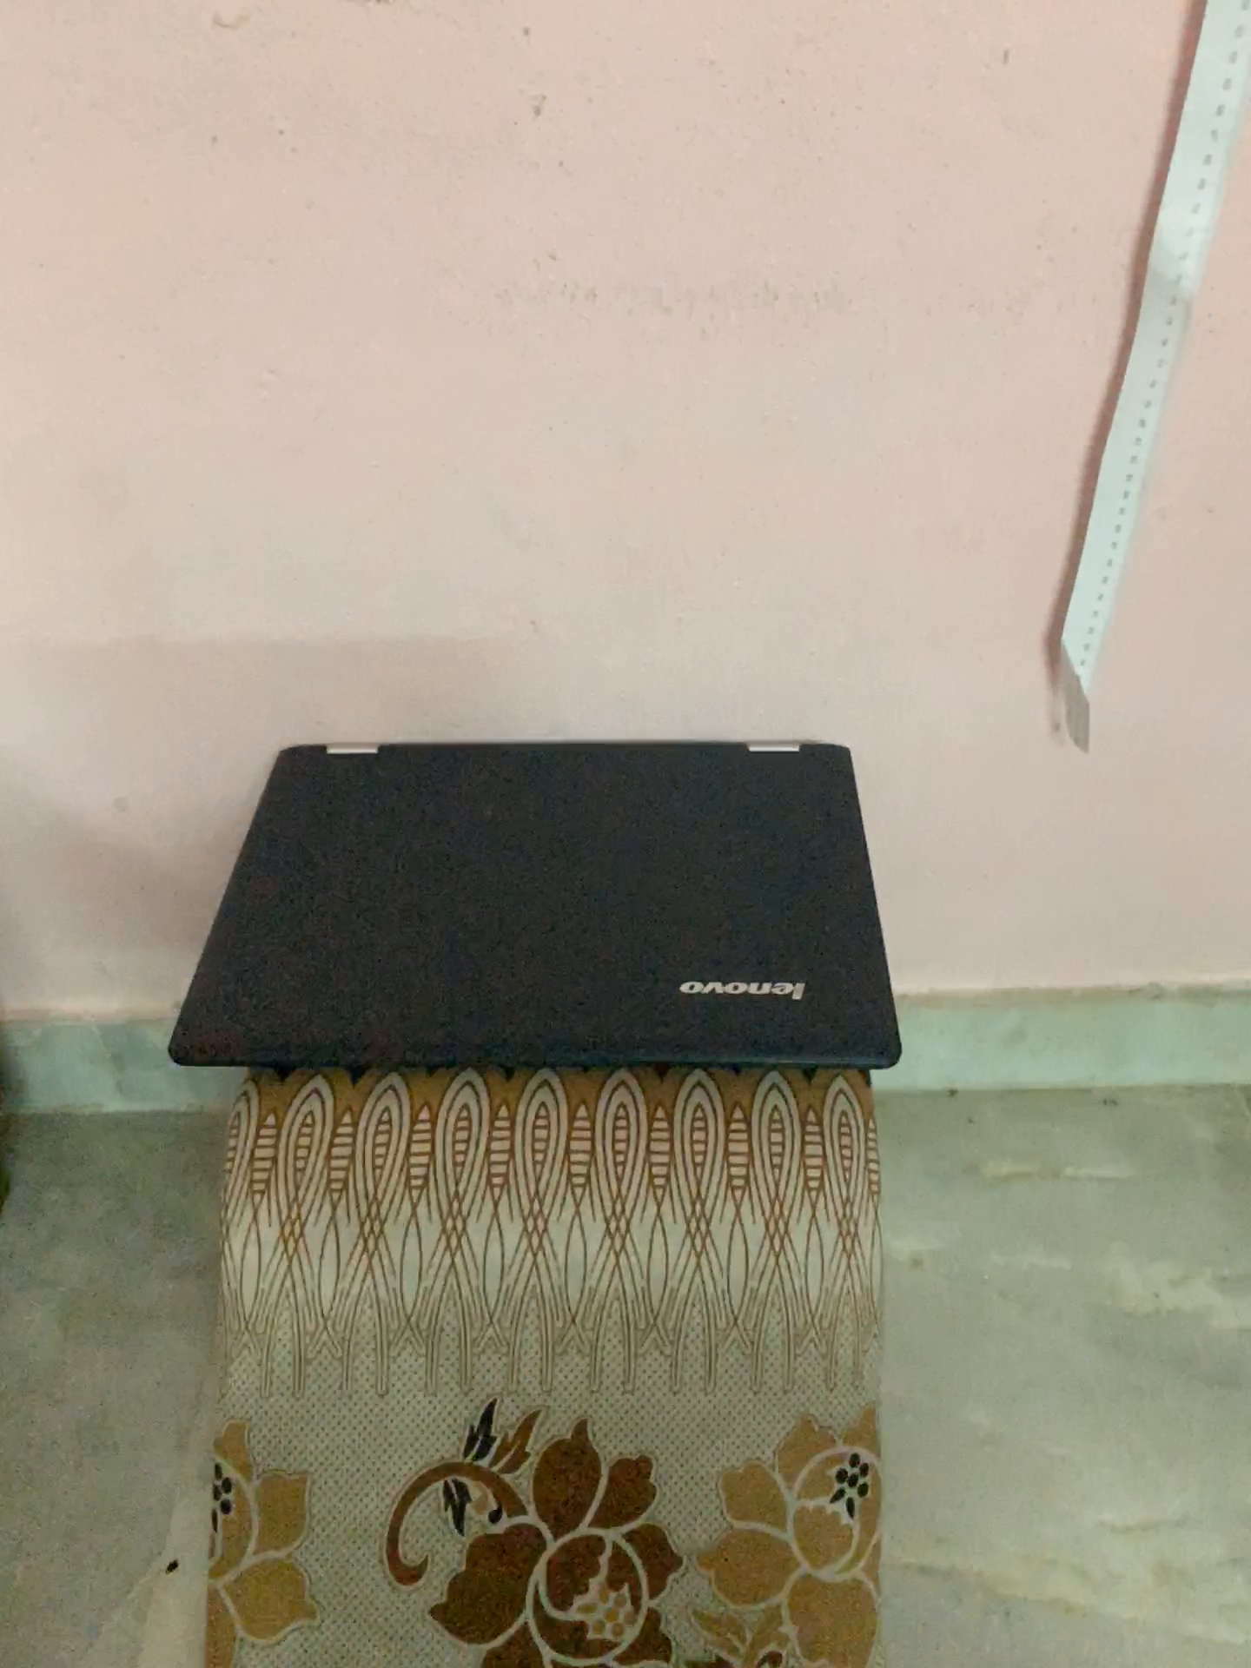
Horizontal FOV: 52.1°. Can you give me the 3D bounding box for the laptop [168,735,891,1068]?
[{"bbox_3d":[-0.038,0.025,0.633,0.312,0.012,0.214,0,43,2],"label":"laptop"}]
